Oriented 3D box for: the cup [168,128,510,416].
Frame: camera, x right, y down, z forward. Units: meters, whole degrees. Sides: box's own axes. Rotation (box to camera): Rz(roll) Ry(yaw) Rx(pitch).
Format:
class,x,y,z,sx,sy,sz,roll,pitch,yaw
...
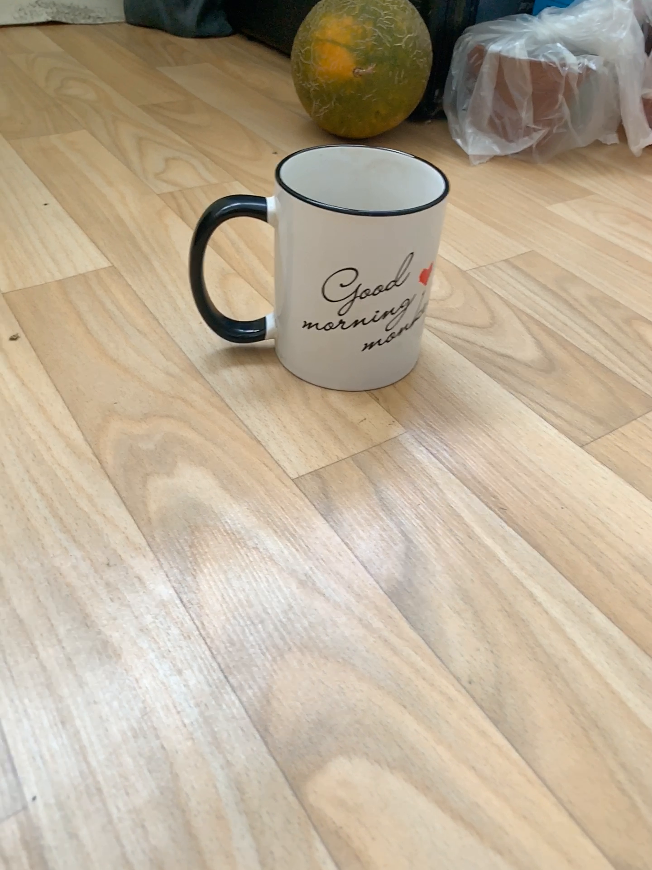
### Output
class,x,y,z,sx,sy,sz,roll,pitch,yaw
cup,-0.001,-0.082,0.326,0.130,0.100,0.080,-9,44,-17
